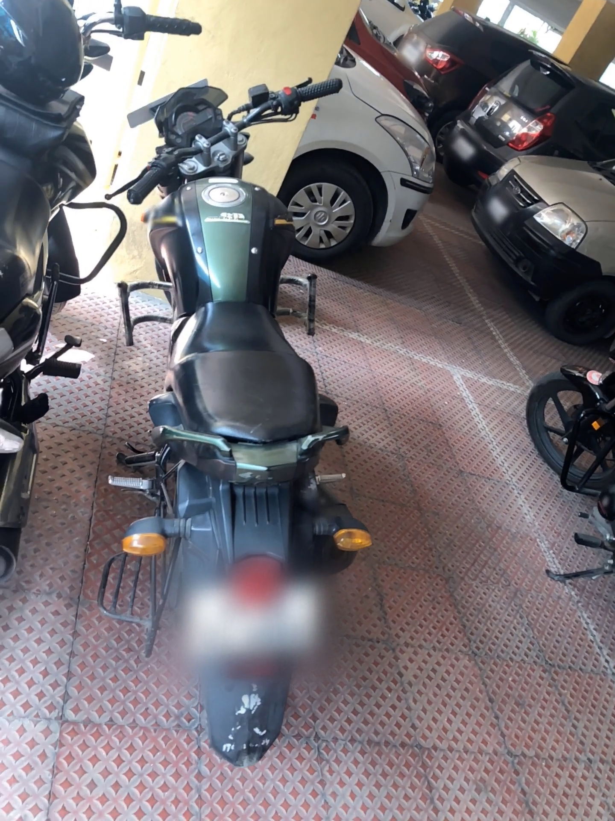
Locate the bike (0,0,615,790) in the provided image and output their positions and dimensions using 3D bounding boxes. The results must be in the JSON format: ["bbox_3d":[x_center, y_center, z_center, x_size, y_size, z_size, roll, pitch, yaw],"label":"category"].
[{"bbox_3d":[-0.377,-0.234,1.687,0.739,1.090,1.816,12,34,-27],"label":"bike"}]
